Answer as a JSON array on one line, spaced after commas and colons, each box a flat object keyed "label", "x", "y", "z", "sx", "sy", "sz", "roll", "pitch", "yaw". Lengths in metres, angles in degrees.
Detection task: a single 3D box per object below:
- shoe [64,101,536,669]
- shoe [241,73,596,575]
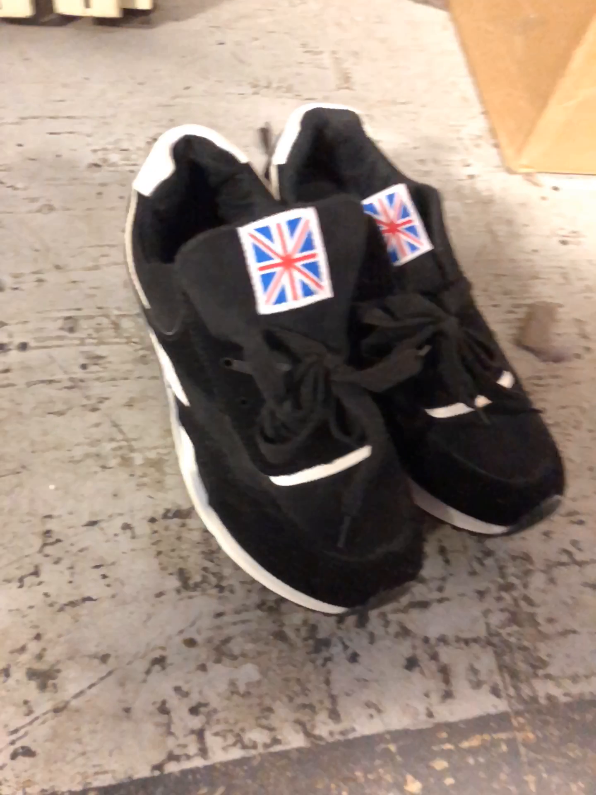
[{"label": "shoe", "x": -0.018, "y": -0.011, "z": 0.320, "sx": 0.100, "sy": 0.119, "sz": 0.231, "roll": -21, "pitch": 66, "yaw": -21}, {"label": "shoe", "x": 0.074, "y": -0.048, "z": 0.365, "sx": 0.110, "sy": 0.109, "sz": 0.241, "roll": -21, "pitch": 66, "yaw": -21}]
